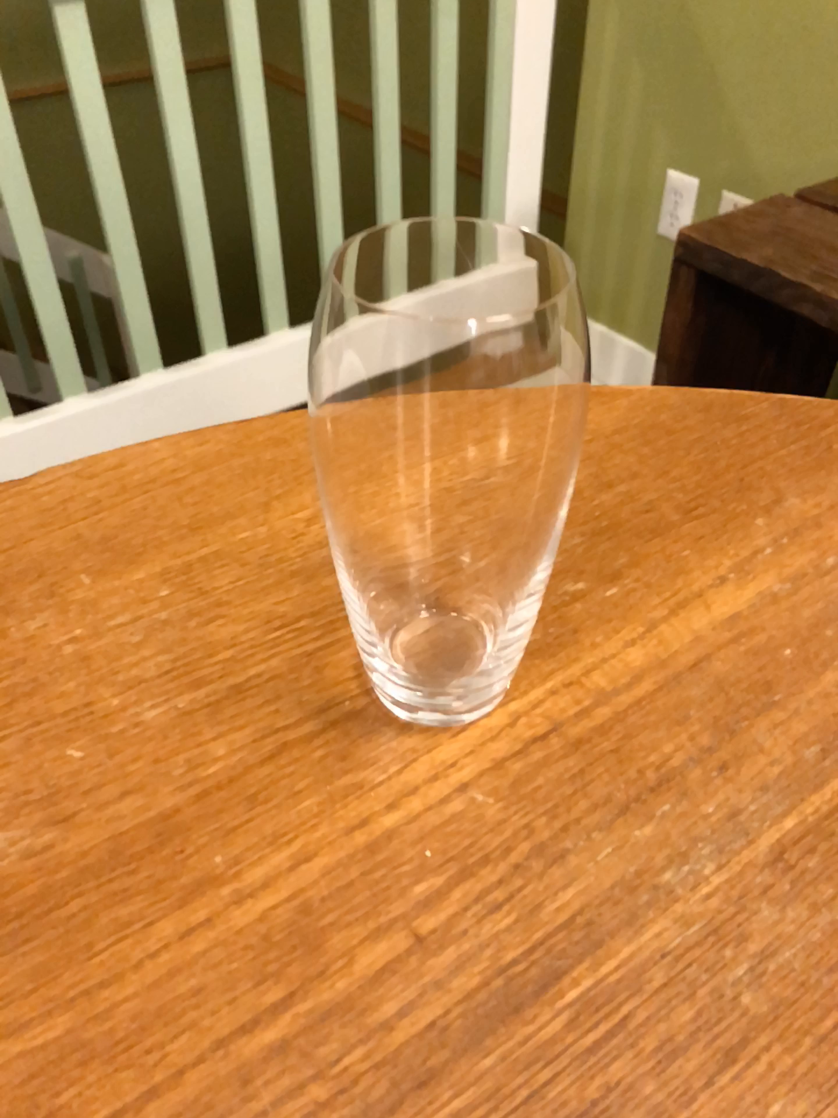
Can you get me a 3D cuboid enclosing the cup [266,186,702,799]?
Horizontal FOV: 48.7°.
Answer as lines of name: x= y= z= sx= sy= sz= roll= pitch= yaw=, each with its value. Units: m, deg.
cup: x=0.016 y=-0.018 z=0.294 sx=0.081 sy=0.156 sz=0.082 roll=0 pitch=41 yaw=0
